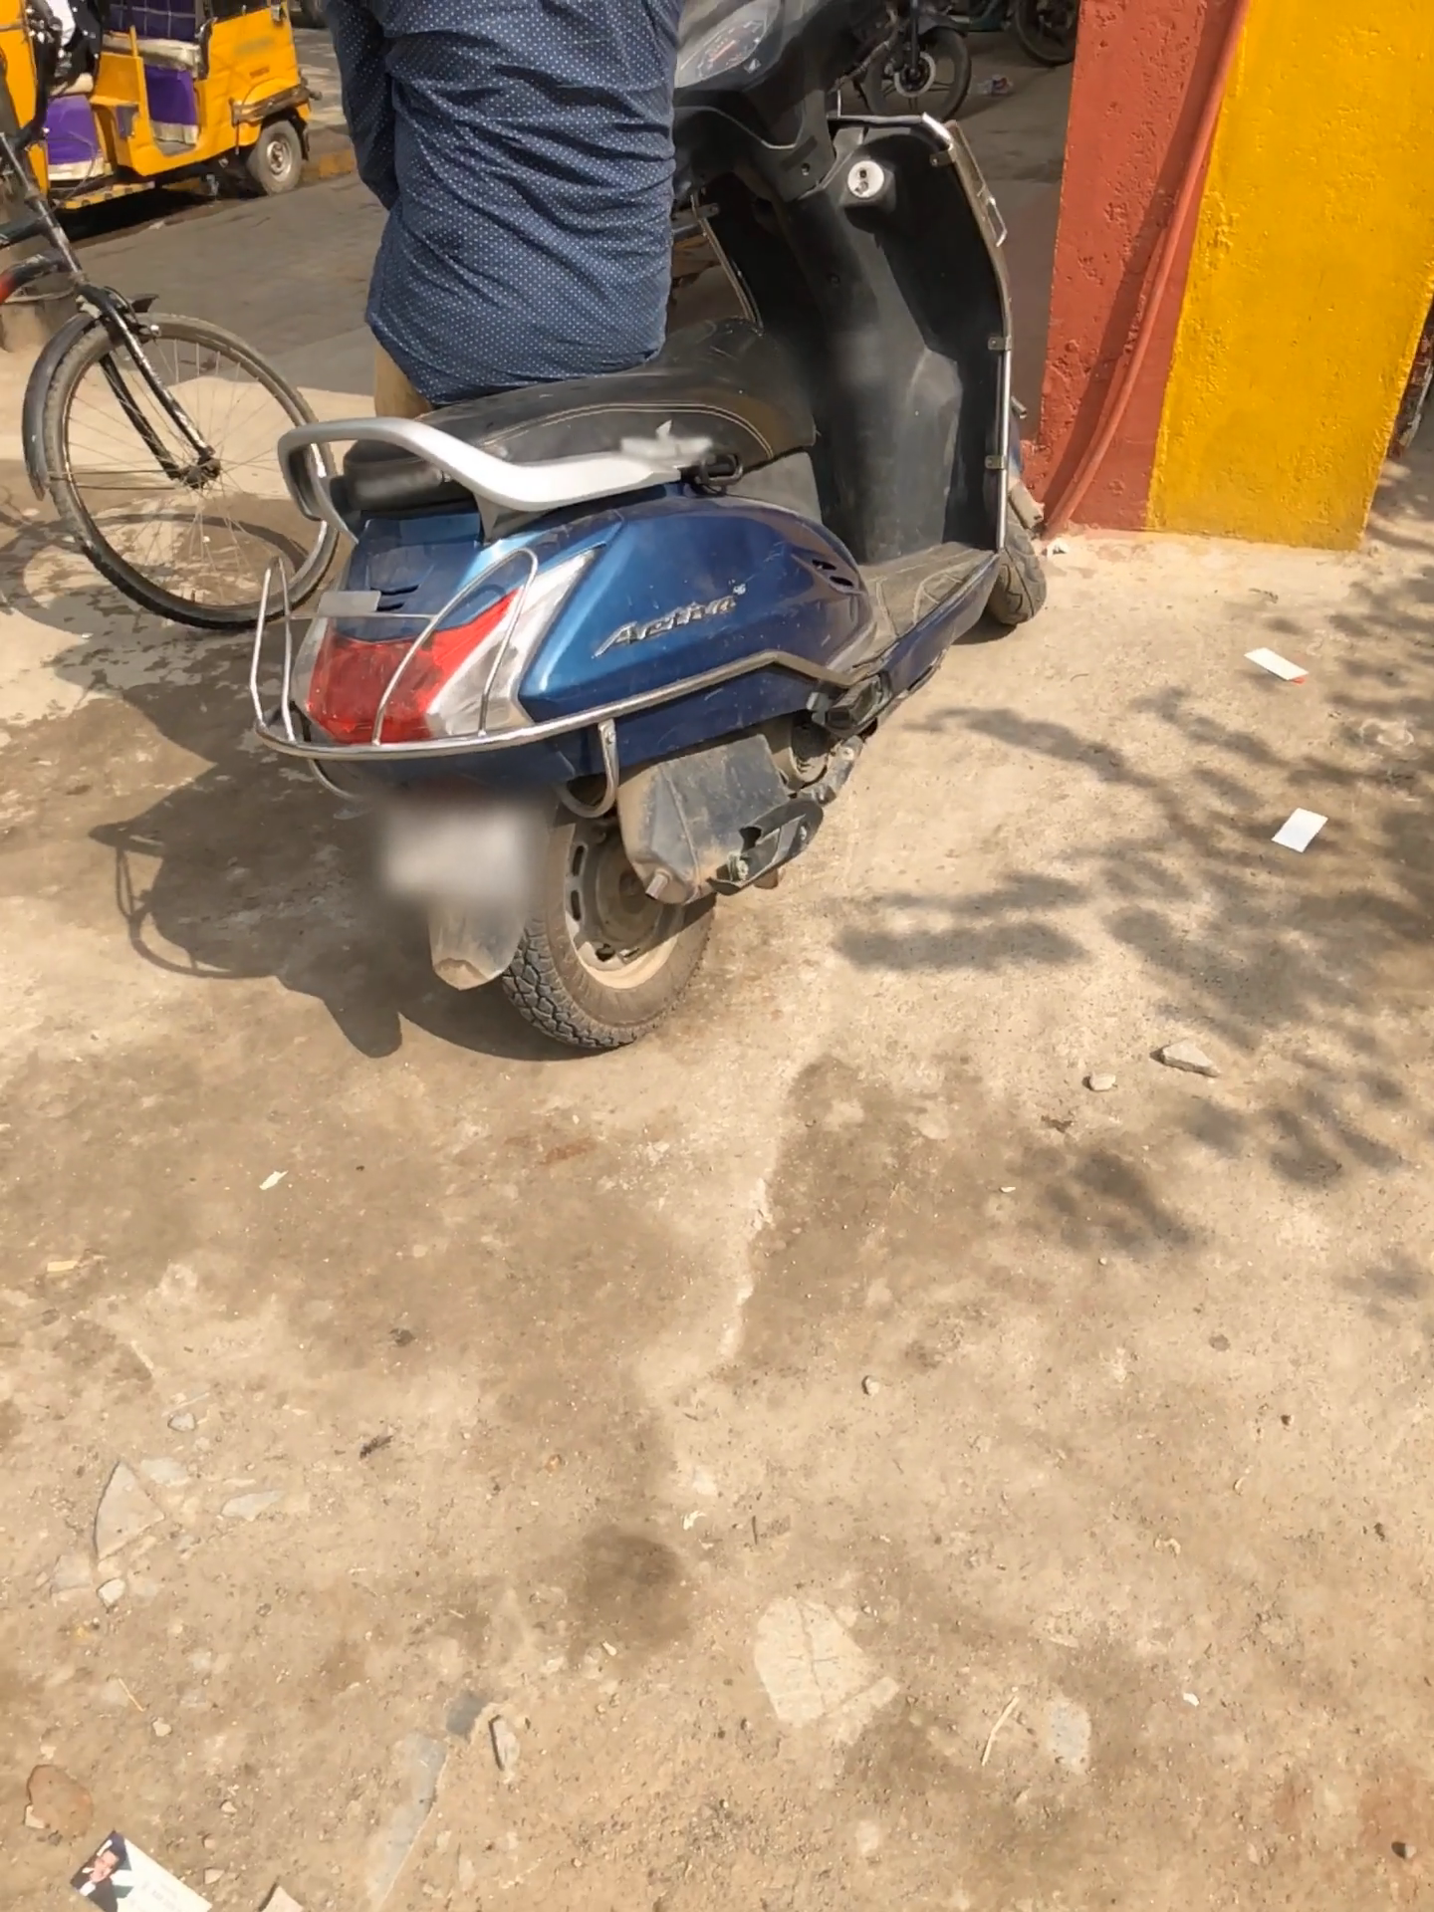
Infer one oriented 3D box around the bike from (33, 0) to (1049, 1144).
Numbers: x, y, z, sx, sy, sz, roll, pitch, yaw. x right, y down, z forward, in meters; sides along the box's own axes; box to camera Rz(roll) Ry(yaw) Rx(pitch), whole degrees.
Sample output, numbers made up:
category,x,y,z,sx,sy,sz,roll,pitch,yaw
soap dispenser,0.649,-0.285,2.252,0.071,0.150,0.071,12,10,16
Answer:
category,x,y,z,sx,sy,sz,roll,pitch,yaw
bike,-0.065,-0.779,2.352,0.624,1.187,1.644,15,40,17
